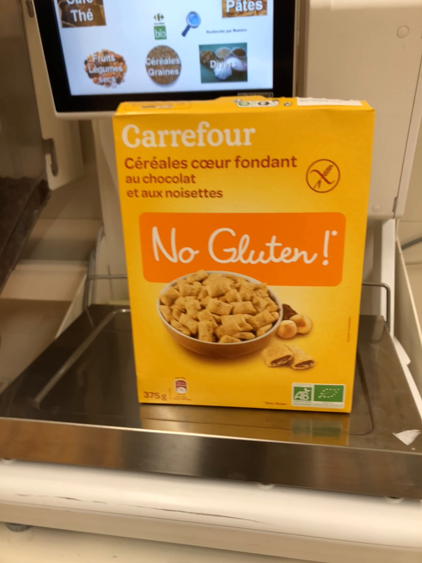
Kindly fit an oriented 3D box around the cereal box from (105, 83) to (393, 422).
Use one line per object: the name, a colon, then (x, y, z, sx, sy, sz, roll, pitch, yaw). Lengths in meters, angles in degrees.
cereal box: (0.029, -0.019, 0.399, 0.200, 0.269, 0.060, 2, 20, 8)
